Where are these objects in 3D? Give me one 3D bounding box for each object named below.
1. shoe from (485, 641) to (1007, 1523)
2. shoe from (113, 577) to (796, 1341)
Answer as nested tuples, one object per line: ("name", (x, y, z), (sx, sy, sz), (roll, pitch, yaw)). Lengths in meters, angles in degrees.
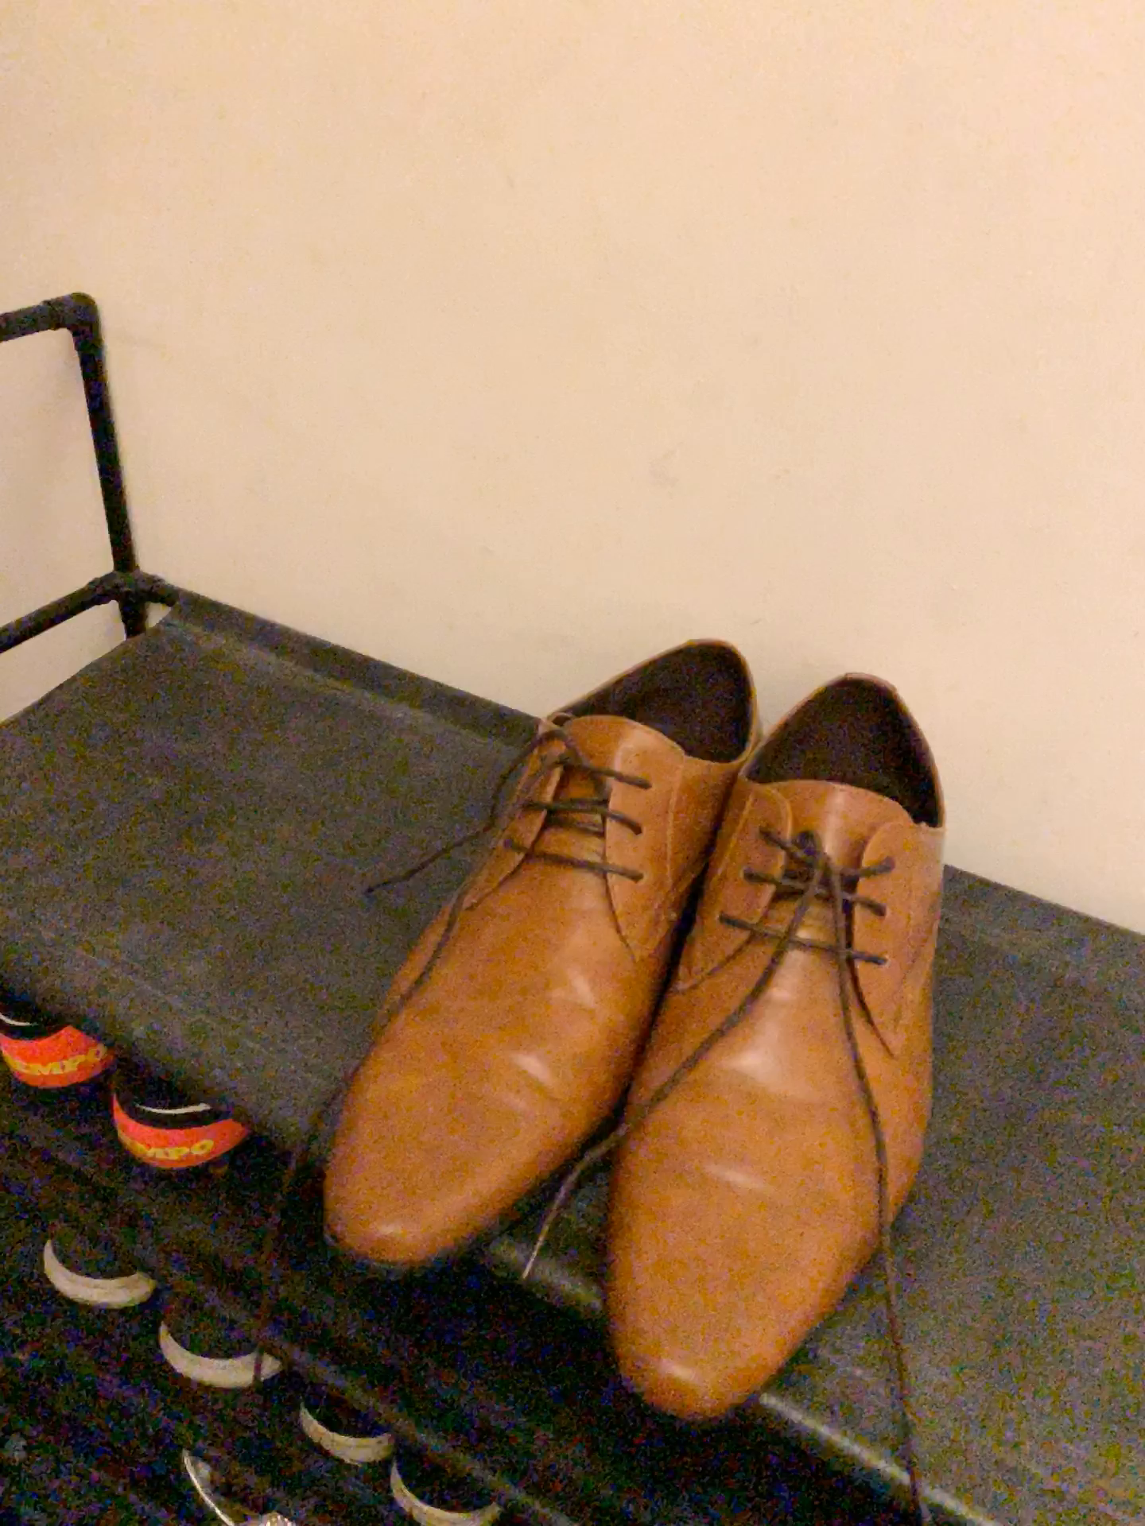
("shoe", (0.077, 0.076, 0.413), (0.100, 0.099, 0.293), (15, 36, 16))
("shoe", (-0.018, 0.042, 0.428), (0.110, 0.099, 0.272), (18, 37, 19))
